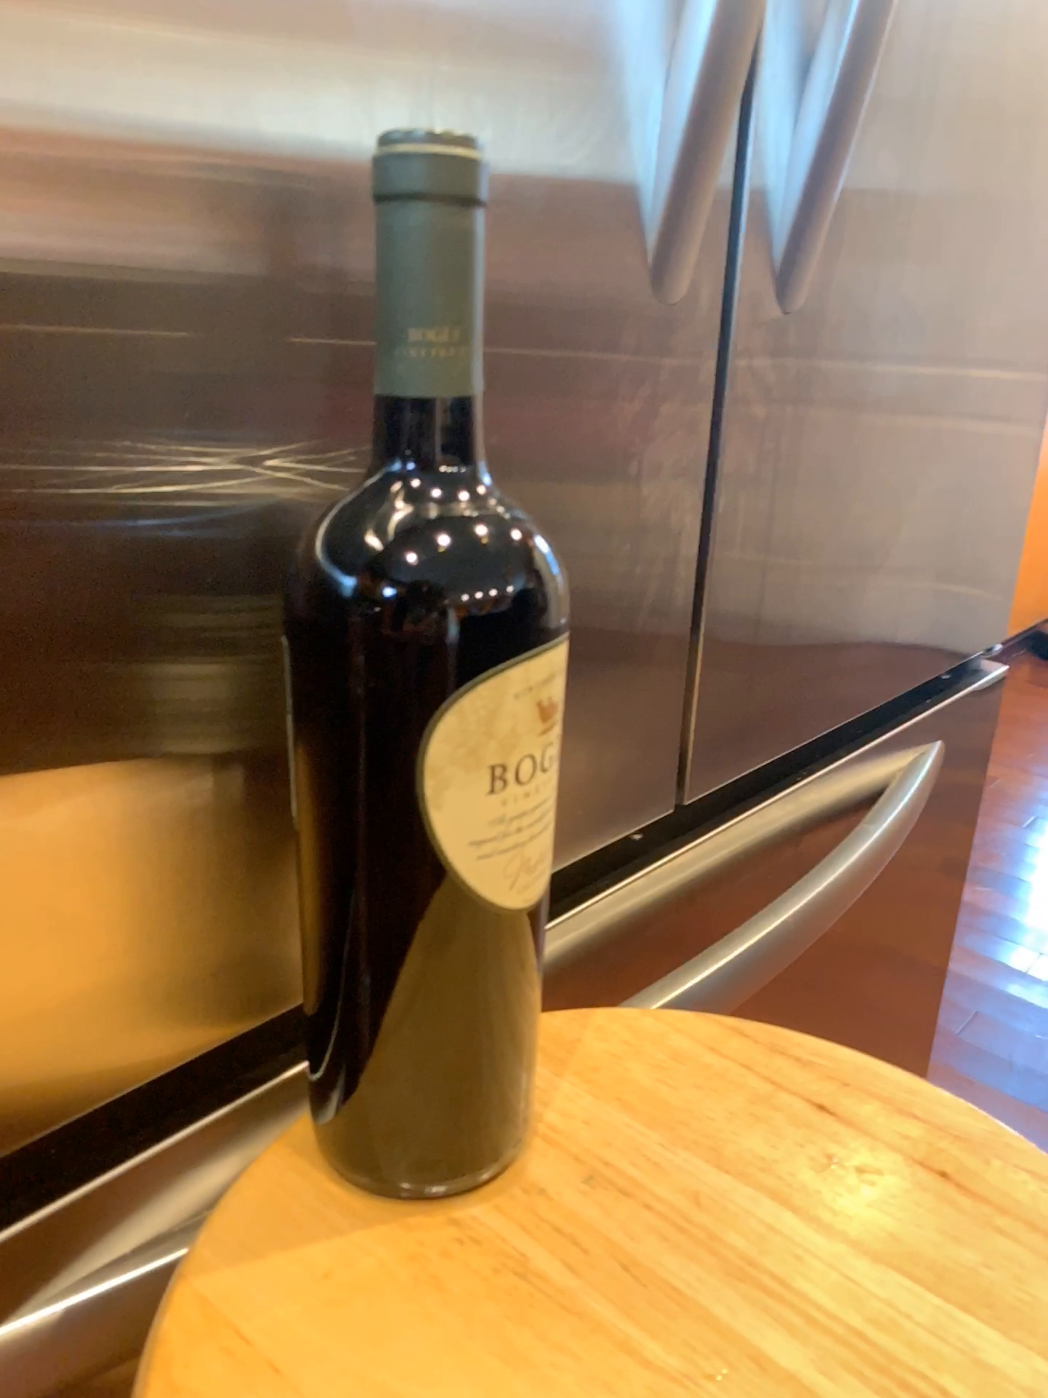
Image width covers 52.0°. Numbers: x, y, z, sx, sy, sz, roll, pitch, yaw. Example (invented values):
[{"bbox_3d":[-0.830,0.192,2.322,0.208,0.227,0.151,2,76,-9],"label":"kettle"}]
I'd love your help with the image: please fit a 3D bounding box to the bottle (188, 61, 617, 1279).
[{"bbox_3d":[-0.033,0.003,0.318,0.080,0.319,0.080,2,18,-1],"label":"bottle"}]
